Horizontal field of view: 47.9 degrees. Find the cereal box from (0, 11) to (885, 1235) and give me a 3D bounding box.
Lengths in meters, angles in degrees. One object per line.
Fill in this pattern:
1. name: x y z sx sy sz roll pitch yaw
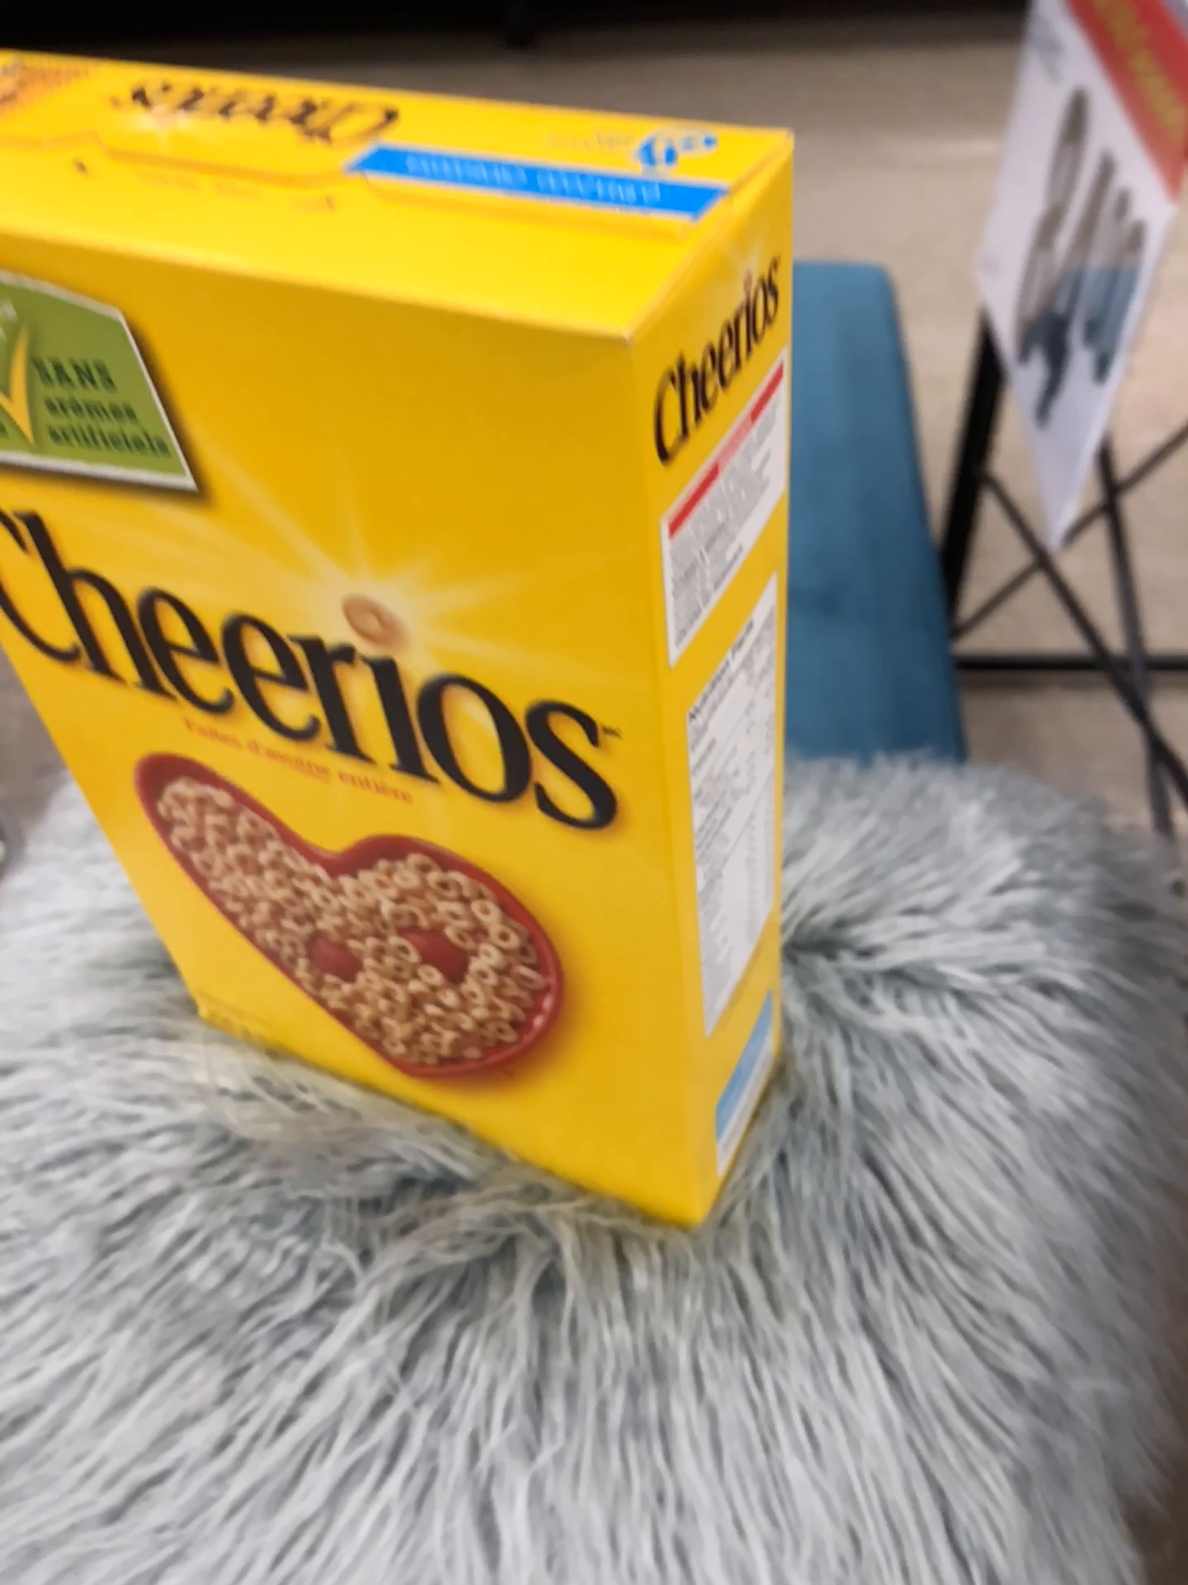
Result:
1. cereal box: -0.055 -0.021 0.351 0.210 0.289 0.080 17 51 18
